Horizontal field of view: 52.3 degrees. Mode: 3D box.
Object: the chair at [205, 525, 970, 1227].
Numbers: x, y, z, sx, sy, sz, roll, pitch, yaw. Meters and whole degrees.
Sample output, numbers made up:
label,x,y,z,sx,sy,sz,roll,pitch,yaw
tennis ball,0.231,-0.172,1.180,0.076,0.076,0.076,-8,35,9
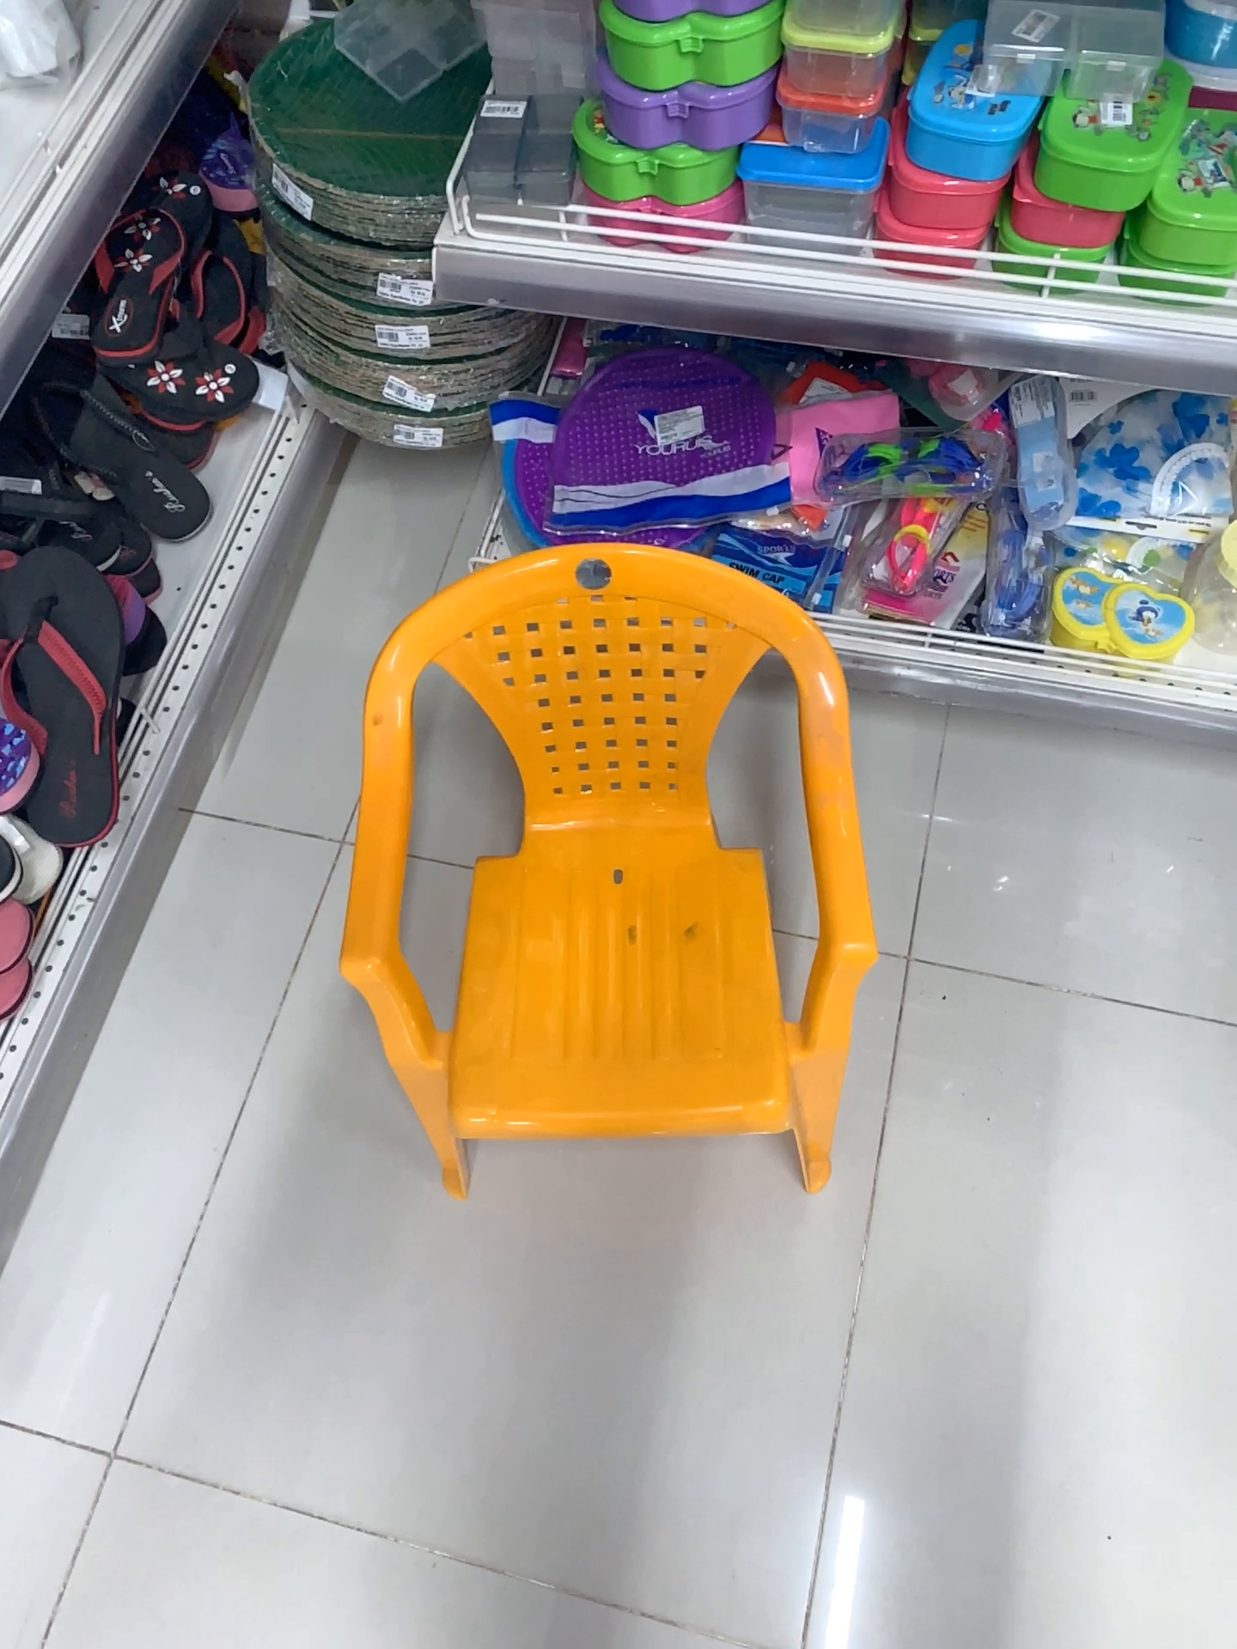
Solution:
label,x,y,z,sx,sy,sz,roll,pitch,yaw
chair,-0.004,0.077,0.940,0.400,0.459,0.360,-2,64,4
